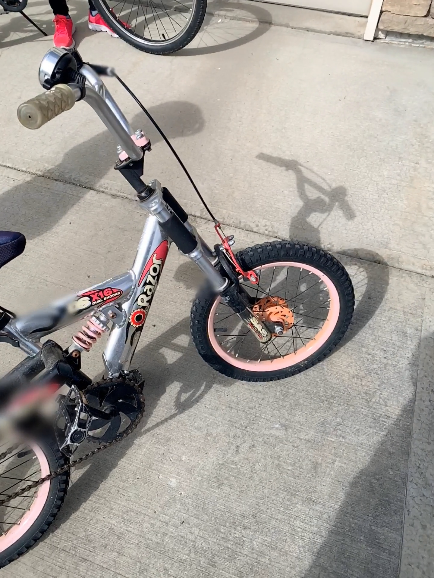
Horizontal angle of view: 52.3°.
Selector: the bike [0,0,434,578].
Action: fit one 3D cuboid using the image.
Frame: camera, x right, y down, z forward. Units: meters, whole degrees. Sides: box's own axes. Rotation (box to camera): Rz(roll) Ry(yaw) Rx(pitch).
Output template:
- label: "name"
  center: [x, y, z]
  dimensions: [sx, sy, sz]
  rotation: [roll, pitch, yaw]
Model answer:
- label: "bike"
  center: [-0.227, -0.021, 0.841]
  dimensions: [1.125, 0.691, 0.359]
  rotation: [-29, 56, -23]
